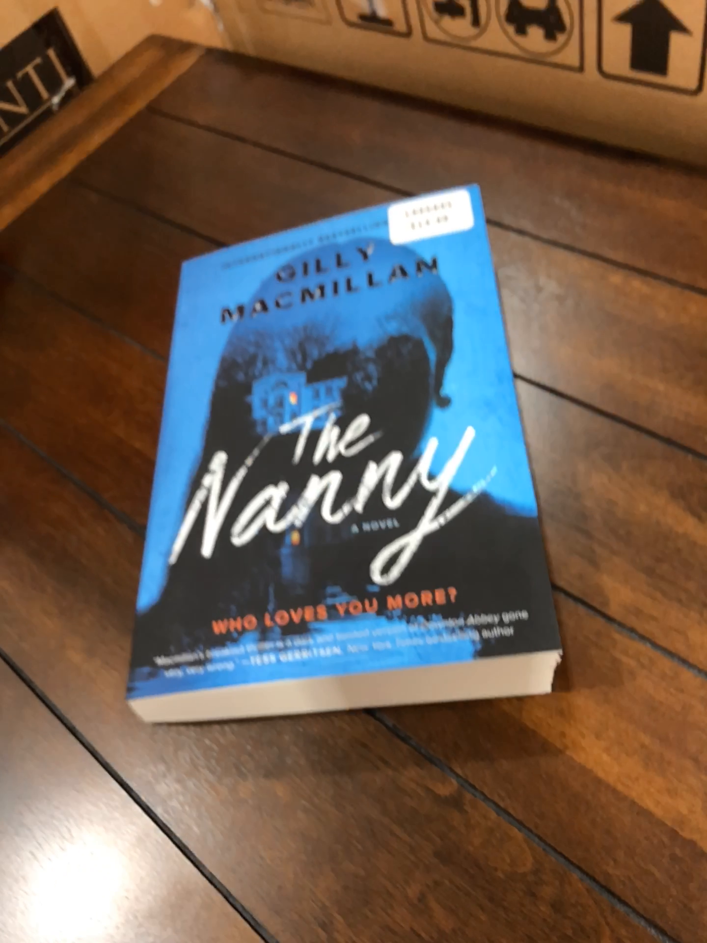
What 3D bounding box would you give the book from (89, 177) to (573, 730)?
[{"bbox_3d":[-0.008,-0.019,0.338,0.160,0.040,0.231,-10,53,14],"label":"book"}]
